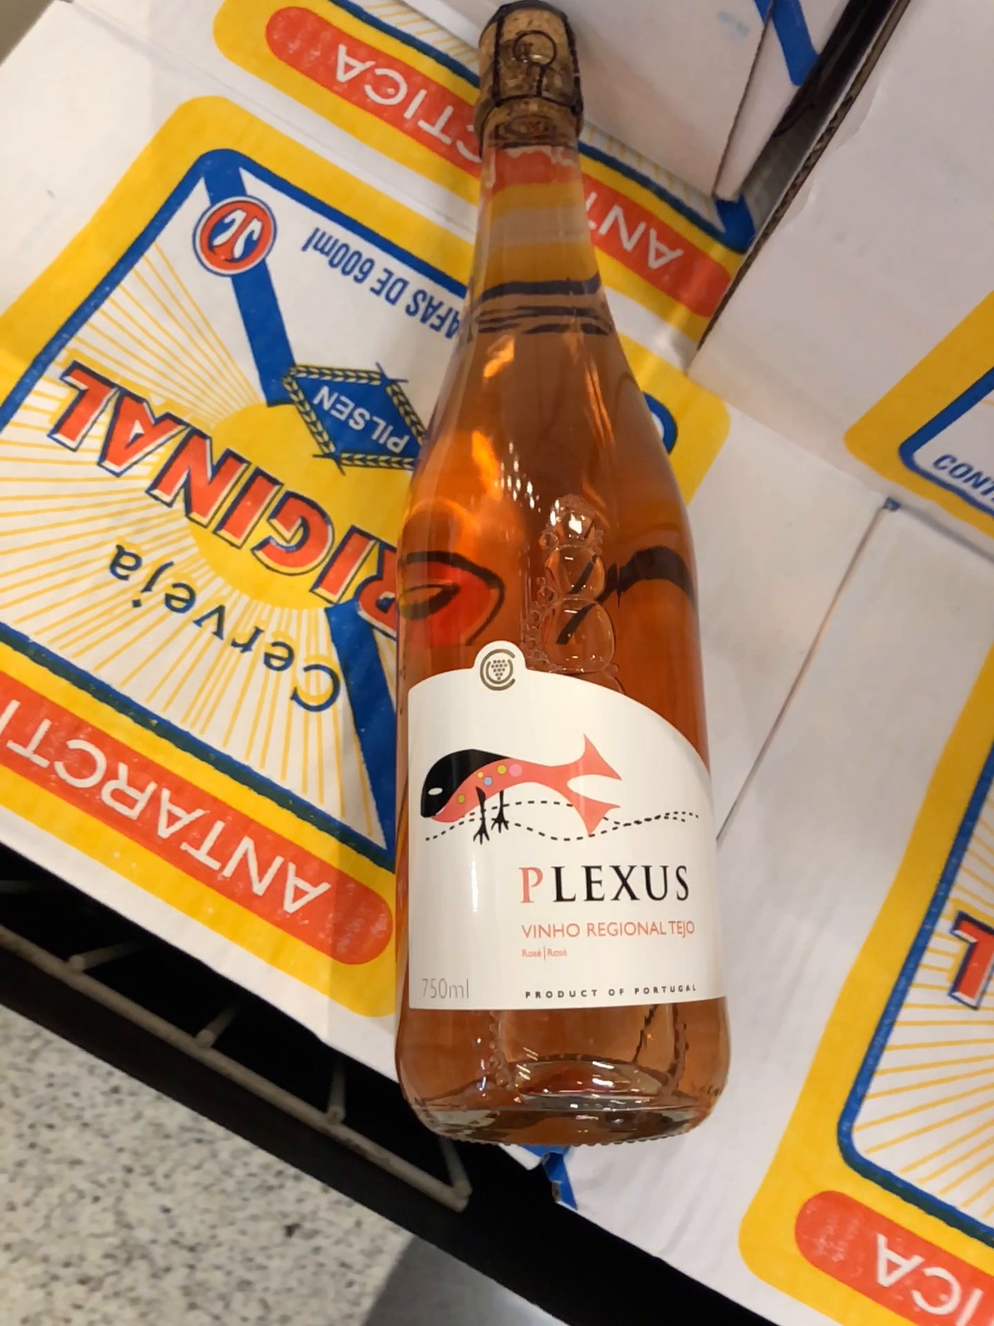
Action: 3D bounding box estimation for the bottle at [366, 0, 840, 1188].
[{"bbox_3d":[0.014,-0.037,0.274,0.090,0.070,0.290,1,77,-7],"label":"bottle"}]
